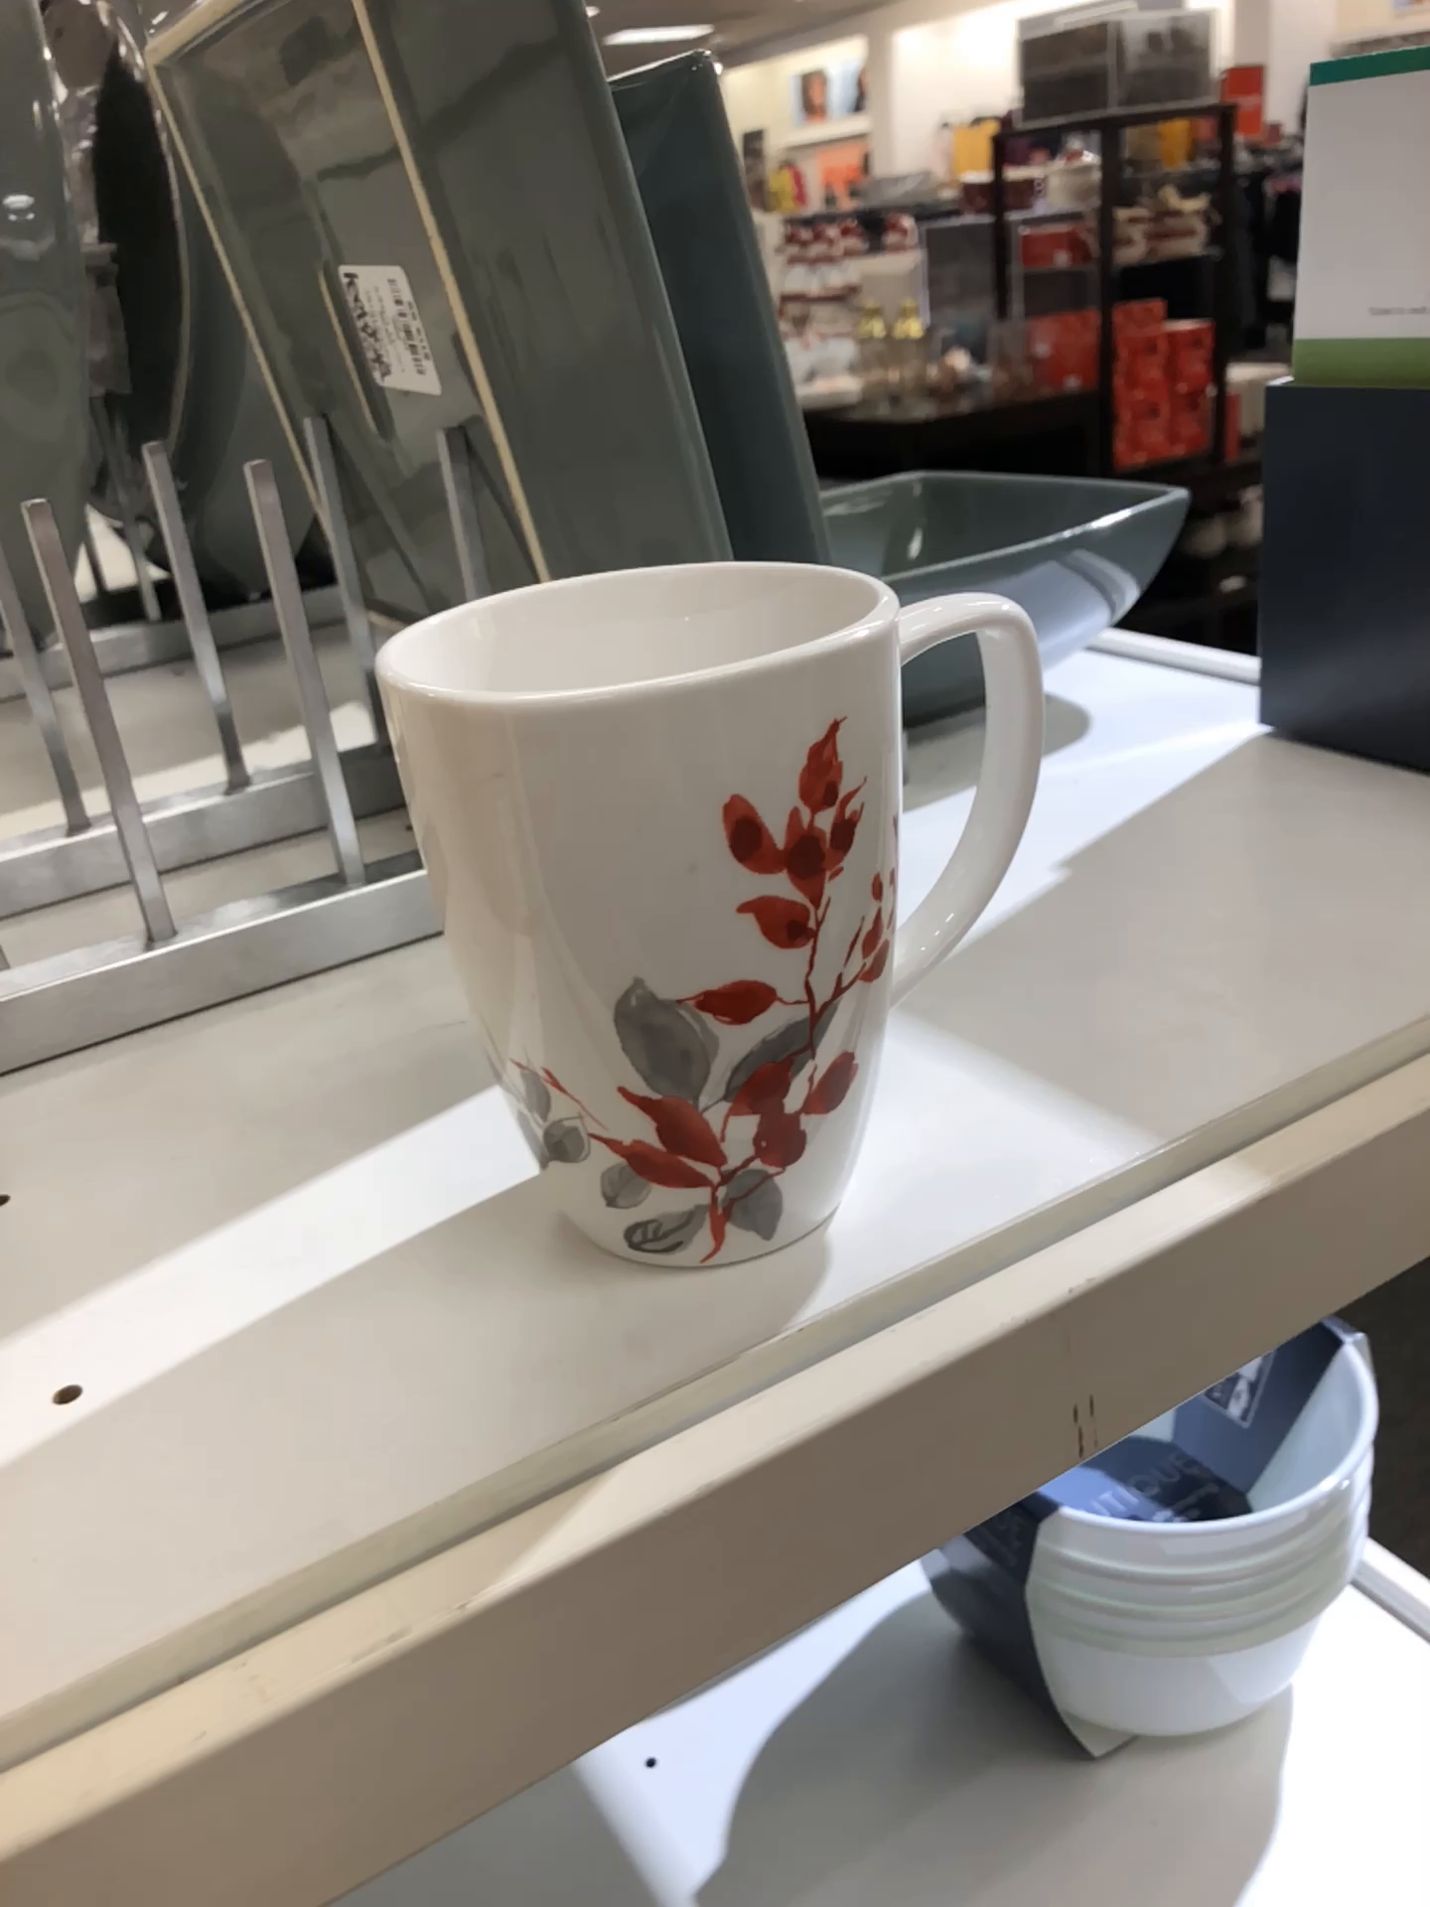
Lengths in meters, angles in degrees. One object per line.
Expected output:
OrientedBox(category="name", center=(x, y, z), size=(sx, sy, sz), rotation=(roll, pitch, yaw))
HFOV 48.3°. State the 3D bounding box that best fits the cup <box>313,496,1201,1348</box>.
OrientedBox(category="cup", center=(0.009, -0.016, 0.282), size=(0.119, 0.100, 0.085), rotation=(-18, 27, -24))
